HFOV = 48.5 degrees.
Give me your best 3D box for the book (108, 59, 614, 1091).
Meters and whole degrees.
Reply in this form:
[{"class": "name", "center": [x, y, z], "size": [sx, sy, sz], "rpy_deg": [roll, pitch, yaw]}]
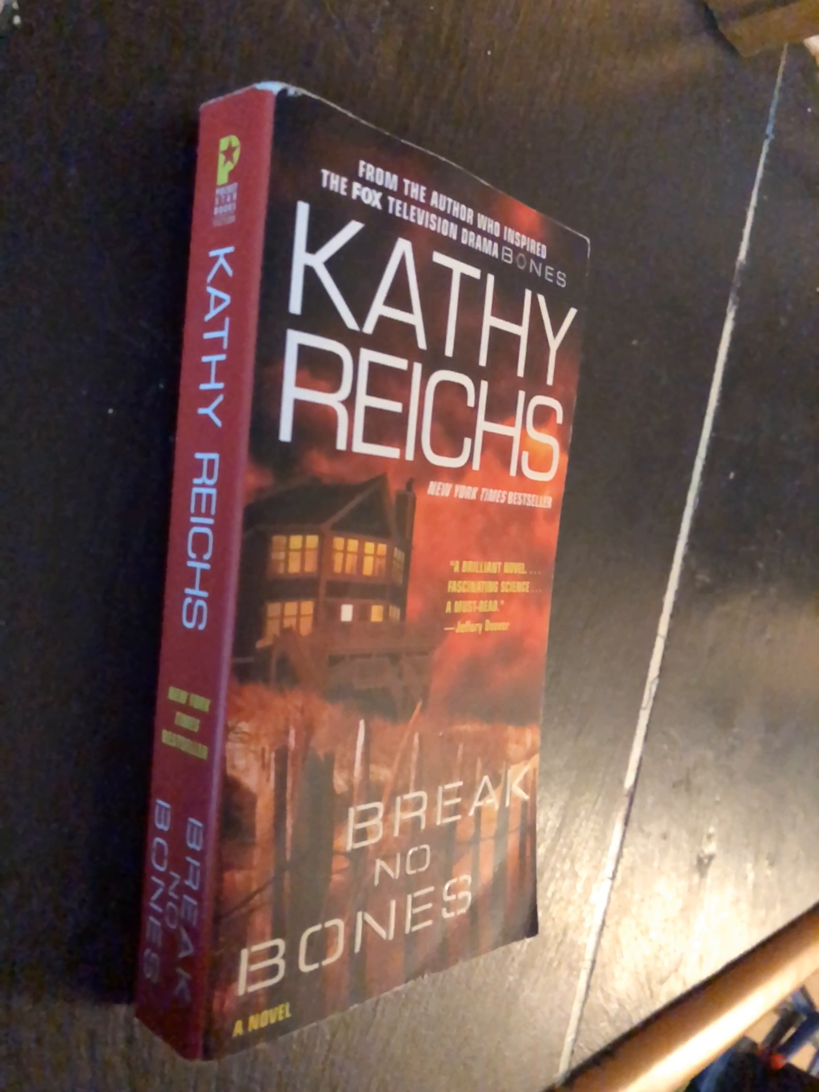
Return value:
[{"class": "book", "center": [-0.004, 0.008, 0.214], "size": [0.108, 0.030, 0.189], "rpy_deg": [4, 93, -47]}]
